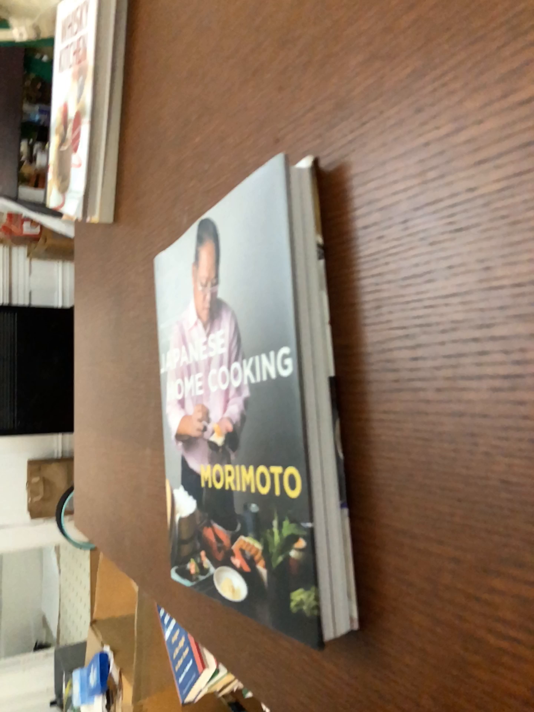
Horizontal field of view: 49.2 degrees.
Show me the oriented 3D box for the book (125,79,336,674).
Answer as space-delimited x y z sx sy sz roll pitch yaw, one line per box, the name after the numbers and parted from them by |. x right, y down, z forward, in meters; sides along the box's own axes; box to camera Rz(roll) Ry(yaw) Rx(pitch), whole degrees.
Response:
-0.044 0.016 0.394 0.221 0.030 0.300 -16 75 59 | book
